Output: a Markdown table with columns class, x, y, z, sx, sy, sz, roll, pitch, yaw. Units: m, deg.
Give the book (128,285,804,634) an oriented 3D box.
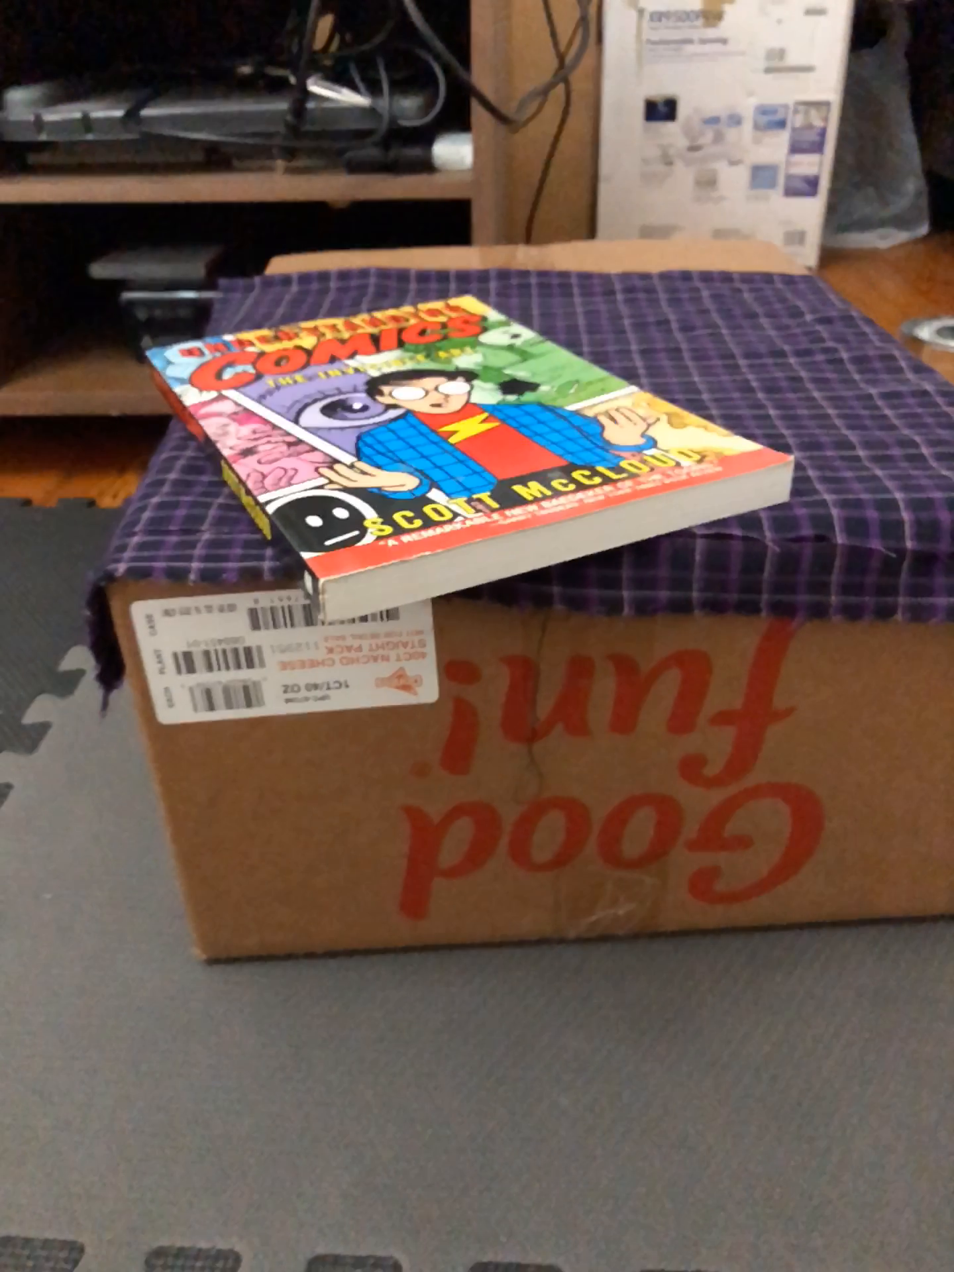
| class | x | y | z | sx | sy | sz | roll | pitch | yaw |
| --- | --- | --- | --- | --- | --- | --- | --- | --- | --- |
| book | -0.028 | -0.093 | 0.427 | 0.170 | 0.020 | 0.271 | -16 | 34 | -21 |
